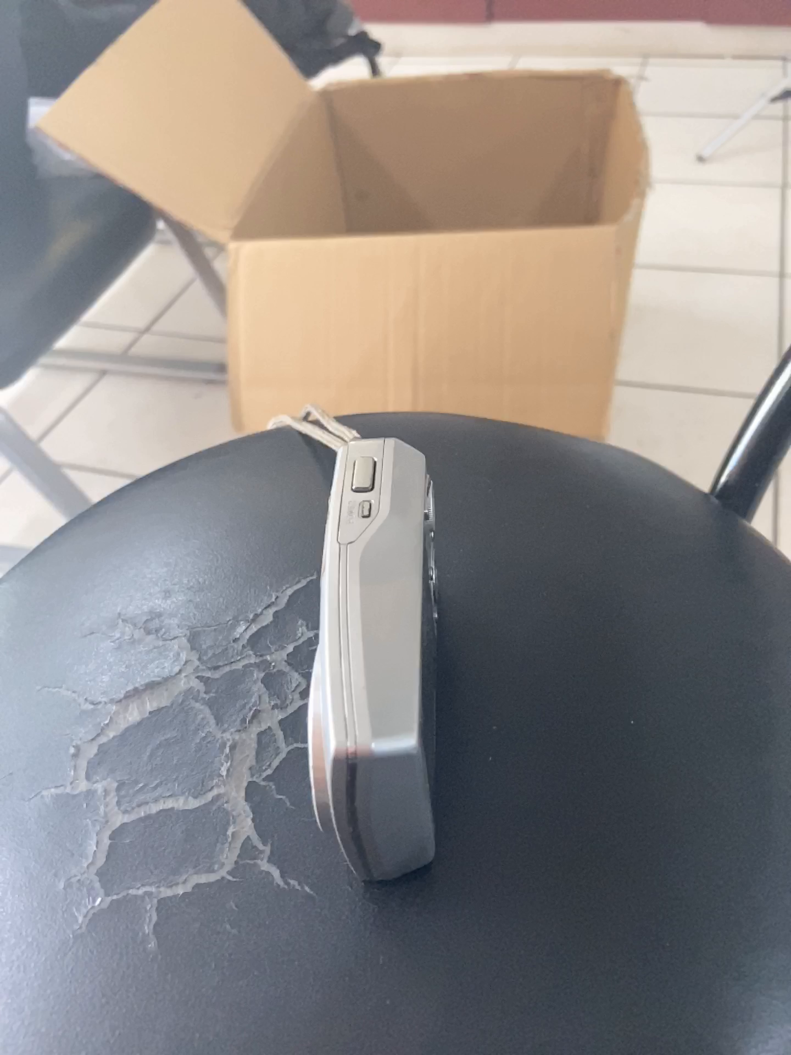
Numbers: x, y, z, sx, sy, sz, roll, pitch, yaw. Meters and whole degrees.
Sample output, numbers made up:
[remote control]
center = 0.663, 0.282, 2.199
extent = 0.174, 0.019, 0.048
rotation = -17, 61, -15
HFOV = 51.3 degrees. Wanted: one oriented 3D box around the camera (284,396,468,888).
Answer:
[camera]
center = -0.002, 0.024, 0.200
extent = 0.030, 0.060, 0.101
rotation = -5, 45, 3
